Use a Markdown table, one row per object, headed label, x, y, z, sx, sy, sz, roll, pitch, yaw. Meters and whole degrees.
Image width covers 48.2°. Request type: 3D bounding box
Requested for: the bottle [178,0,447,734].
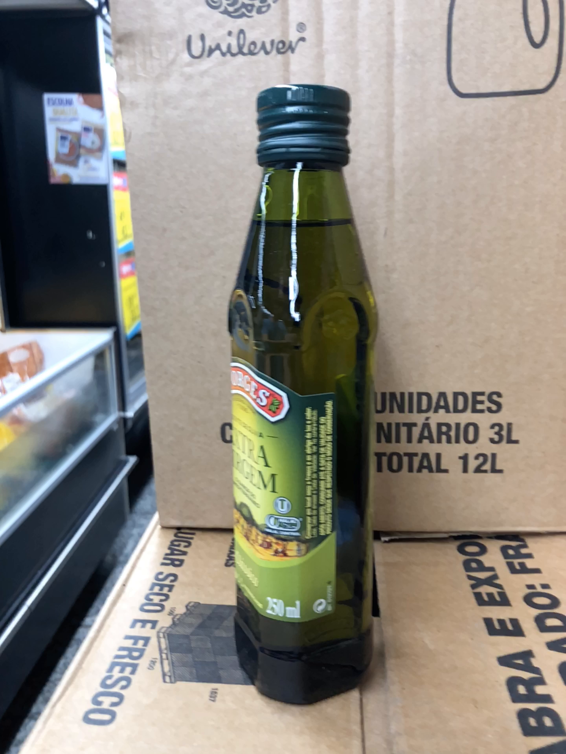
| label | x | y | z | sx | sy | sz | roll | pitch | yaw |
| --- | --- | --- | --- | --- | --- | --- | --- | --- | --- |
| bottle | 0.008 | 0.001 | 0.221 | 0.060 | 0.219 | 0.060 | -1 | 14 | 0 |
